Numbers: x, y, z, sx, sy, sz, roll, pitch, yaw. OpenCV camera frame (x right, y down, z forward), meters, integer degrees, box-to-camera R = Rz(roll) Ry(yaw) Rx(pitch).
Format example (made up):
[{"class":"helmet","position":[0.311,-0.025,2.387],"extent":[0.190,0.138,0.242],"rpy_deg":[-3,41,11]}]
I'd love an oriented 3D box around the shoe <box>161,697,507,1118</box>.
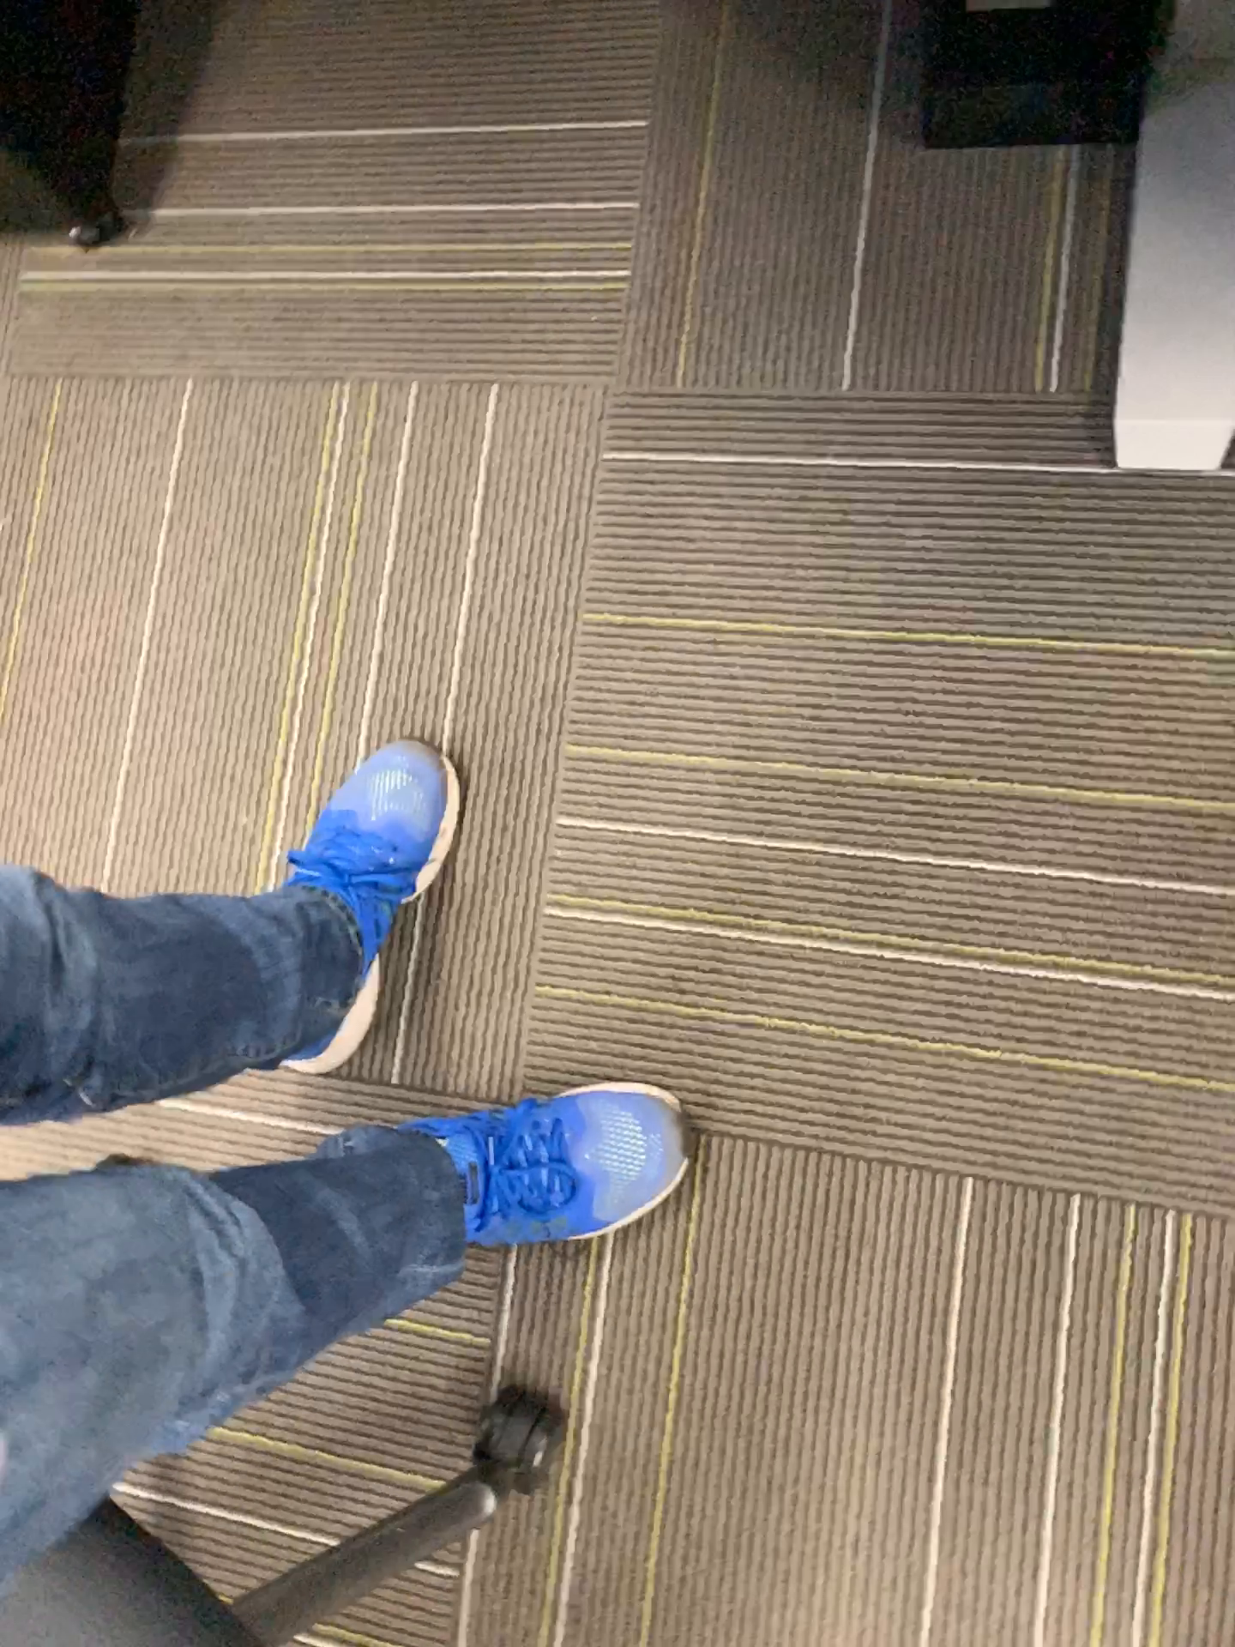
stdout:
[{"class":"shoe","position":[-0.238,0.068,1.057],"extent":[0.142,0.088,0.310],"rpy_deg":[31,99,16]}]

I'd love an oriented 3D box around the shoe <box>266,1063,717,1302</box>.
[{"class":"shoe","position":[-0.105,0.286,1.001],"extent":[0.339,0.088,0.119],"rpy_deg":[-16,79,20]}]
